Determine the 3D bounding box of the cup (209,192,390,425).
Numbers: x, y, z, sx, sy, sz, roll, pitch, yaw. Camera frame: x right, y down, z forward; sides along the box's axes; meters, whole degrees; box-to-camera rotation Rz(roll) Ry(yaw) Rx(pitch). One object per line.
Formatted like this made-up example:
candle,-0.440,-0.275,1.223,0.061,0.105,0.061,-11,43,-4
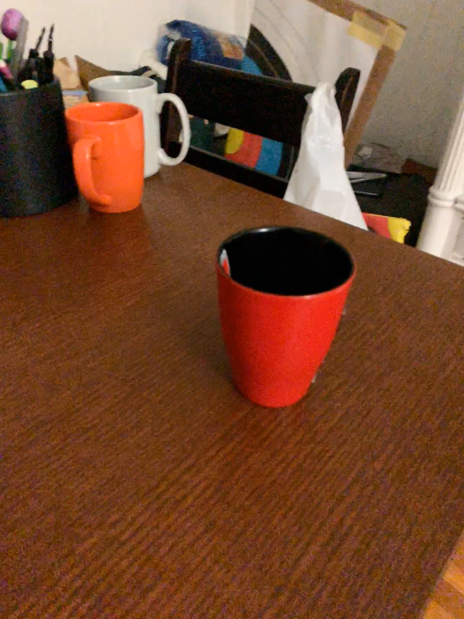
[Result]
cup,0.031,-0.007,0.323,0.090,0.099,0.131,-1,36,-4
